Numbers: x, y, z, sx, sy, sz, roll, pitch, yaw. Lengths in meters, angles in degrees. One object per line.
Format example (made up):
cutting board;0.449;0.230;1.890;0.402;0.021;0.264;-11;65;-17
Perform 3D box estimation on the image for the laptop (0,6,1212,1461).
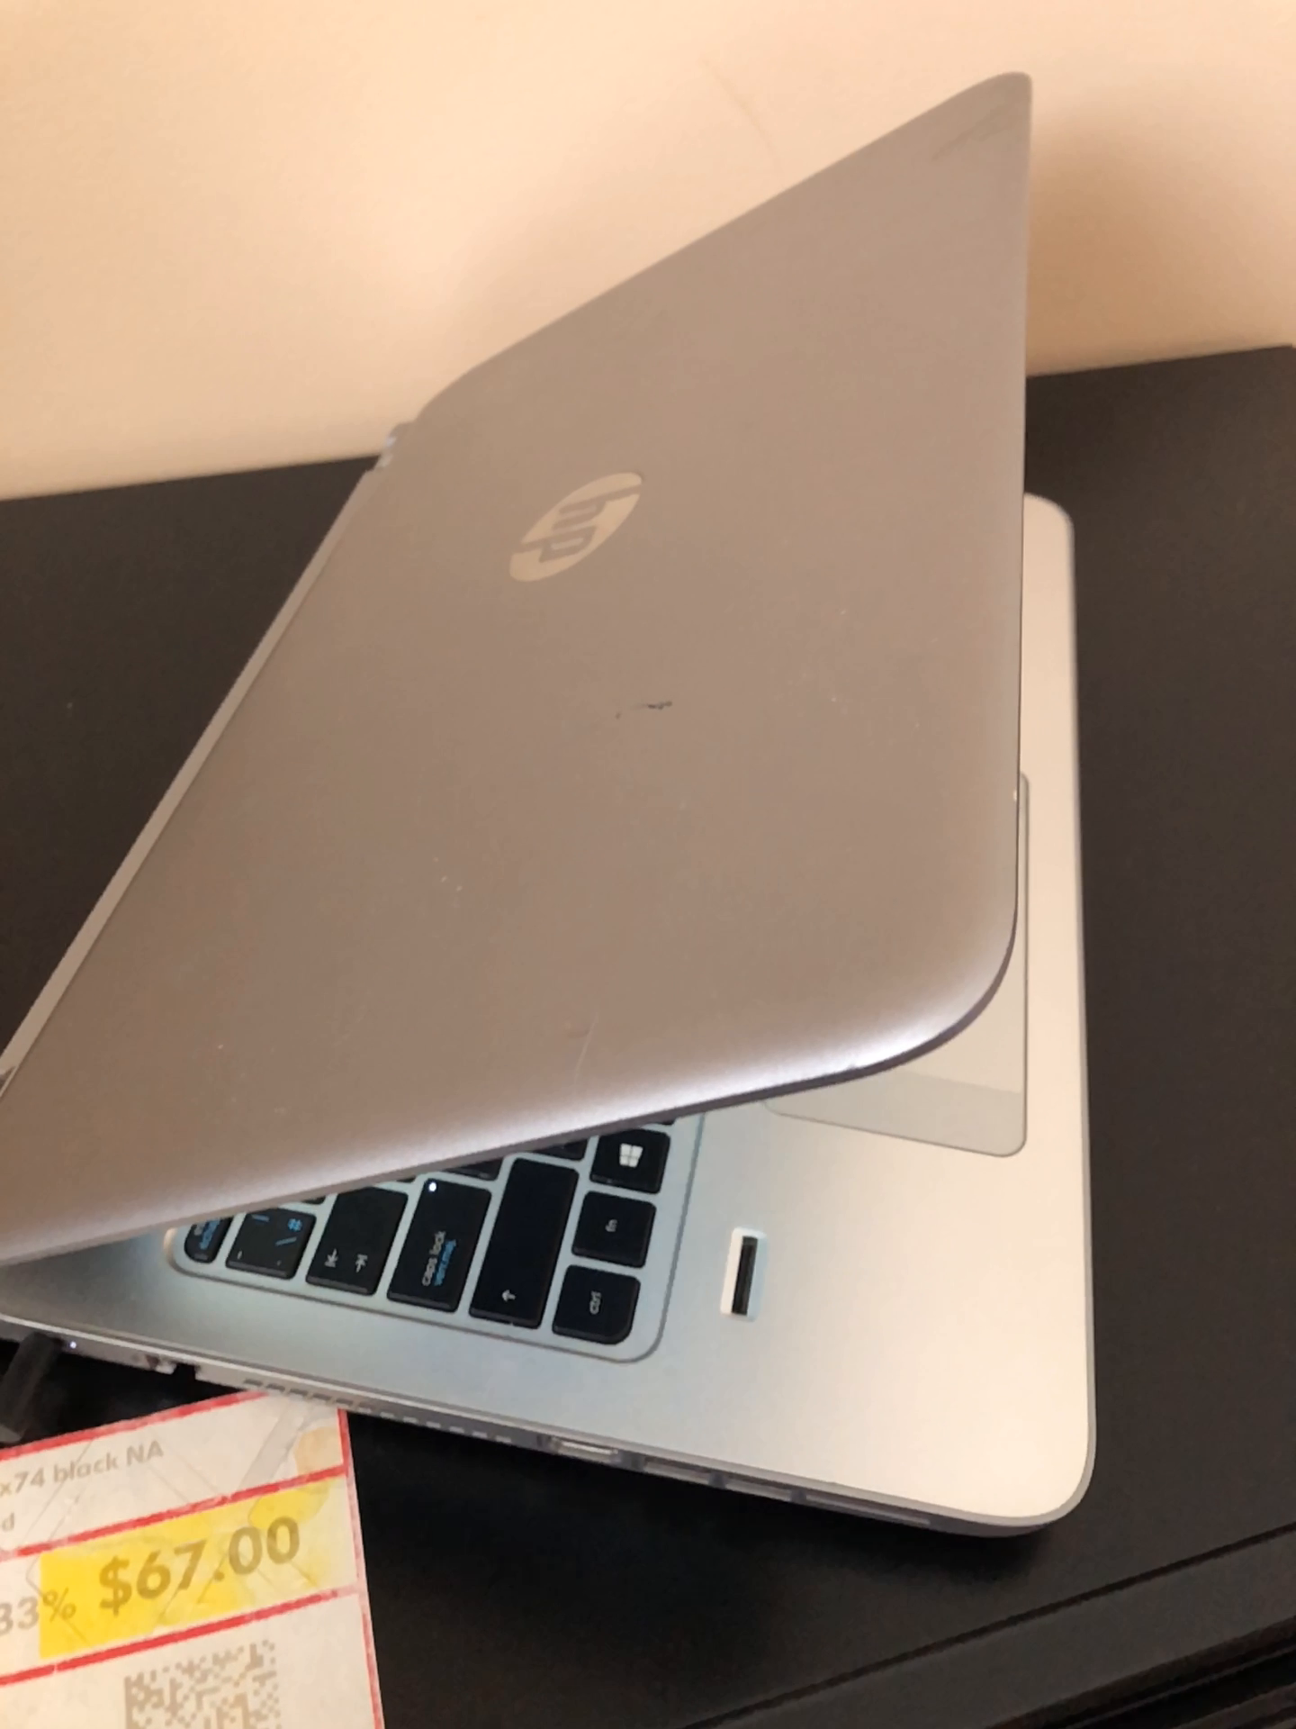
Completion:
laptop;-0.012;-0.071;0.367;0.227;0.153;0.357;8;46;5
